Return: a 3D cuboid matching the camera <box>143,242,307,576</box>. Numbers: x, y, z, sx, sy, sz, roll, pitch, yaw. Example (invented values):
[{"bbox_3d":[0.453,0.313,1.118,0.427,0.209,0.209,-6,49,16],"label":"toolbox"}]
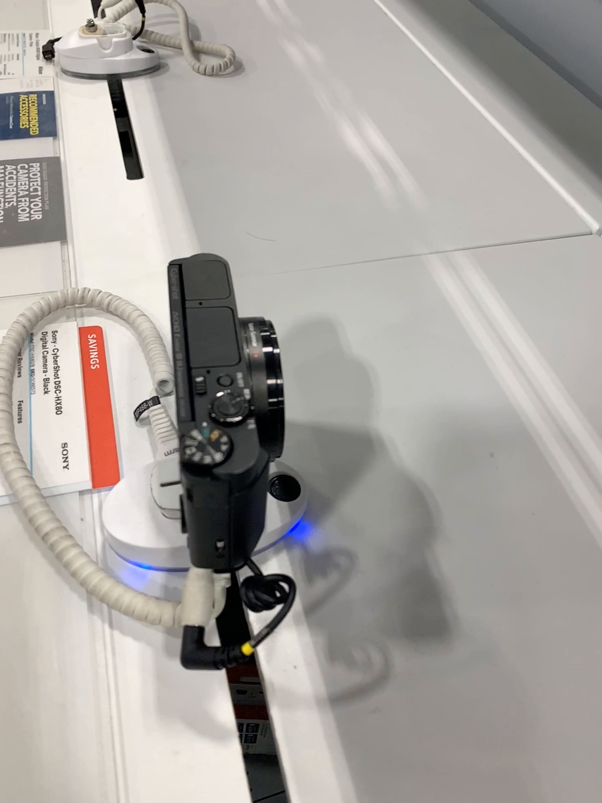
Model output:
[{"bbox_3d":[-0.030,-0.001,0.219,0.040,0.052,0.104,-6,52,-11],"label":"camera"}]
